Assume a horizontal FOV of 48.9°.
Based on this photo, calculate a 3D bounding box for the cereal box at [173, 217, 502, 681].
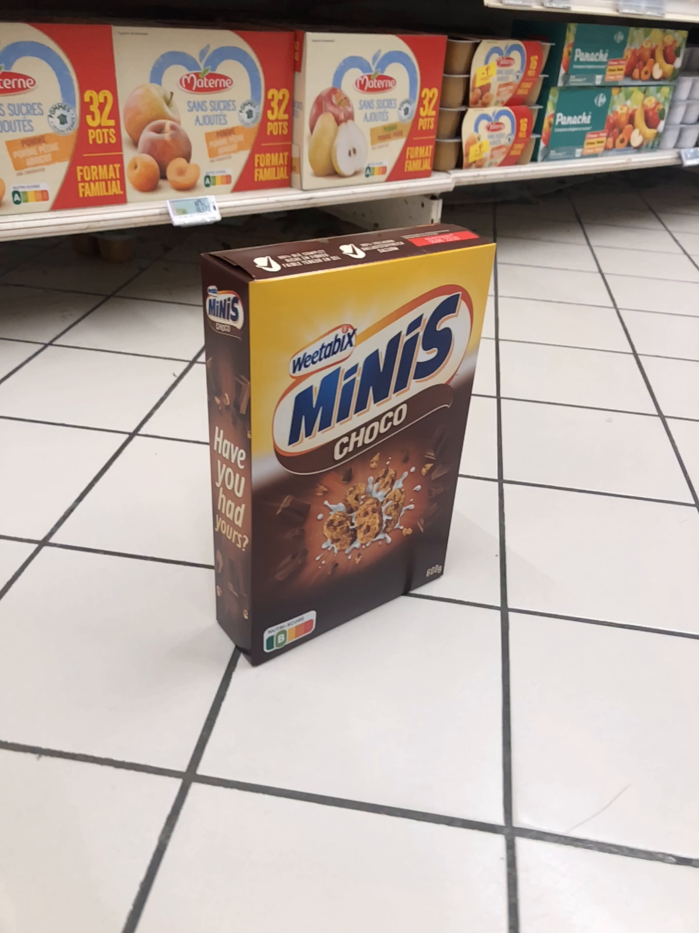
[{"bbox_3d":[-0.010,-0.015,0.560,0.201,0.288,0.080,-19,37,-33],"label":"cereal box"}]
